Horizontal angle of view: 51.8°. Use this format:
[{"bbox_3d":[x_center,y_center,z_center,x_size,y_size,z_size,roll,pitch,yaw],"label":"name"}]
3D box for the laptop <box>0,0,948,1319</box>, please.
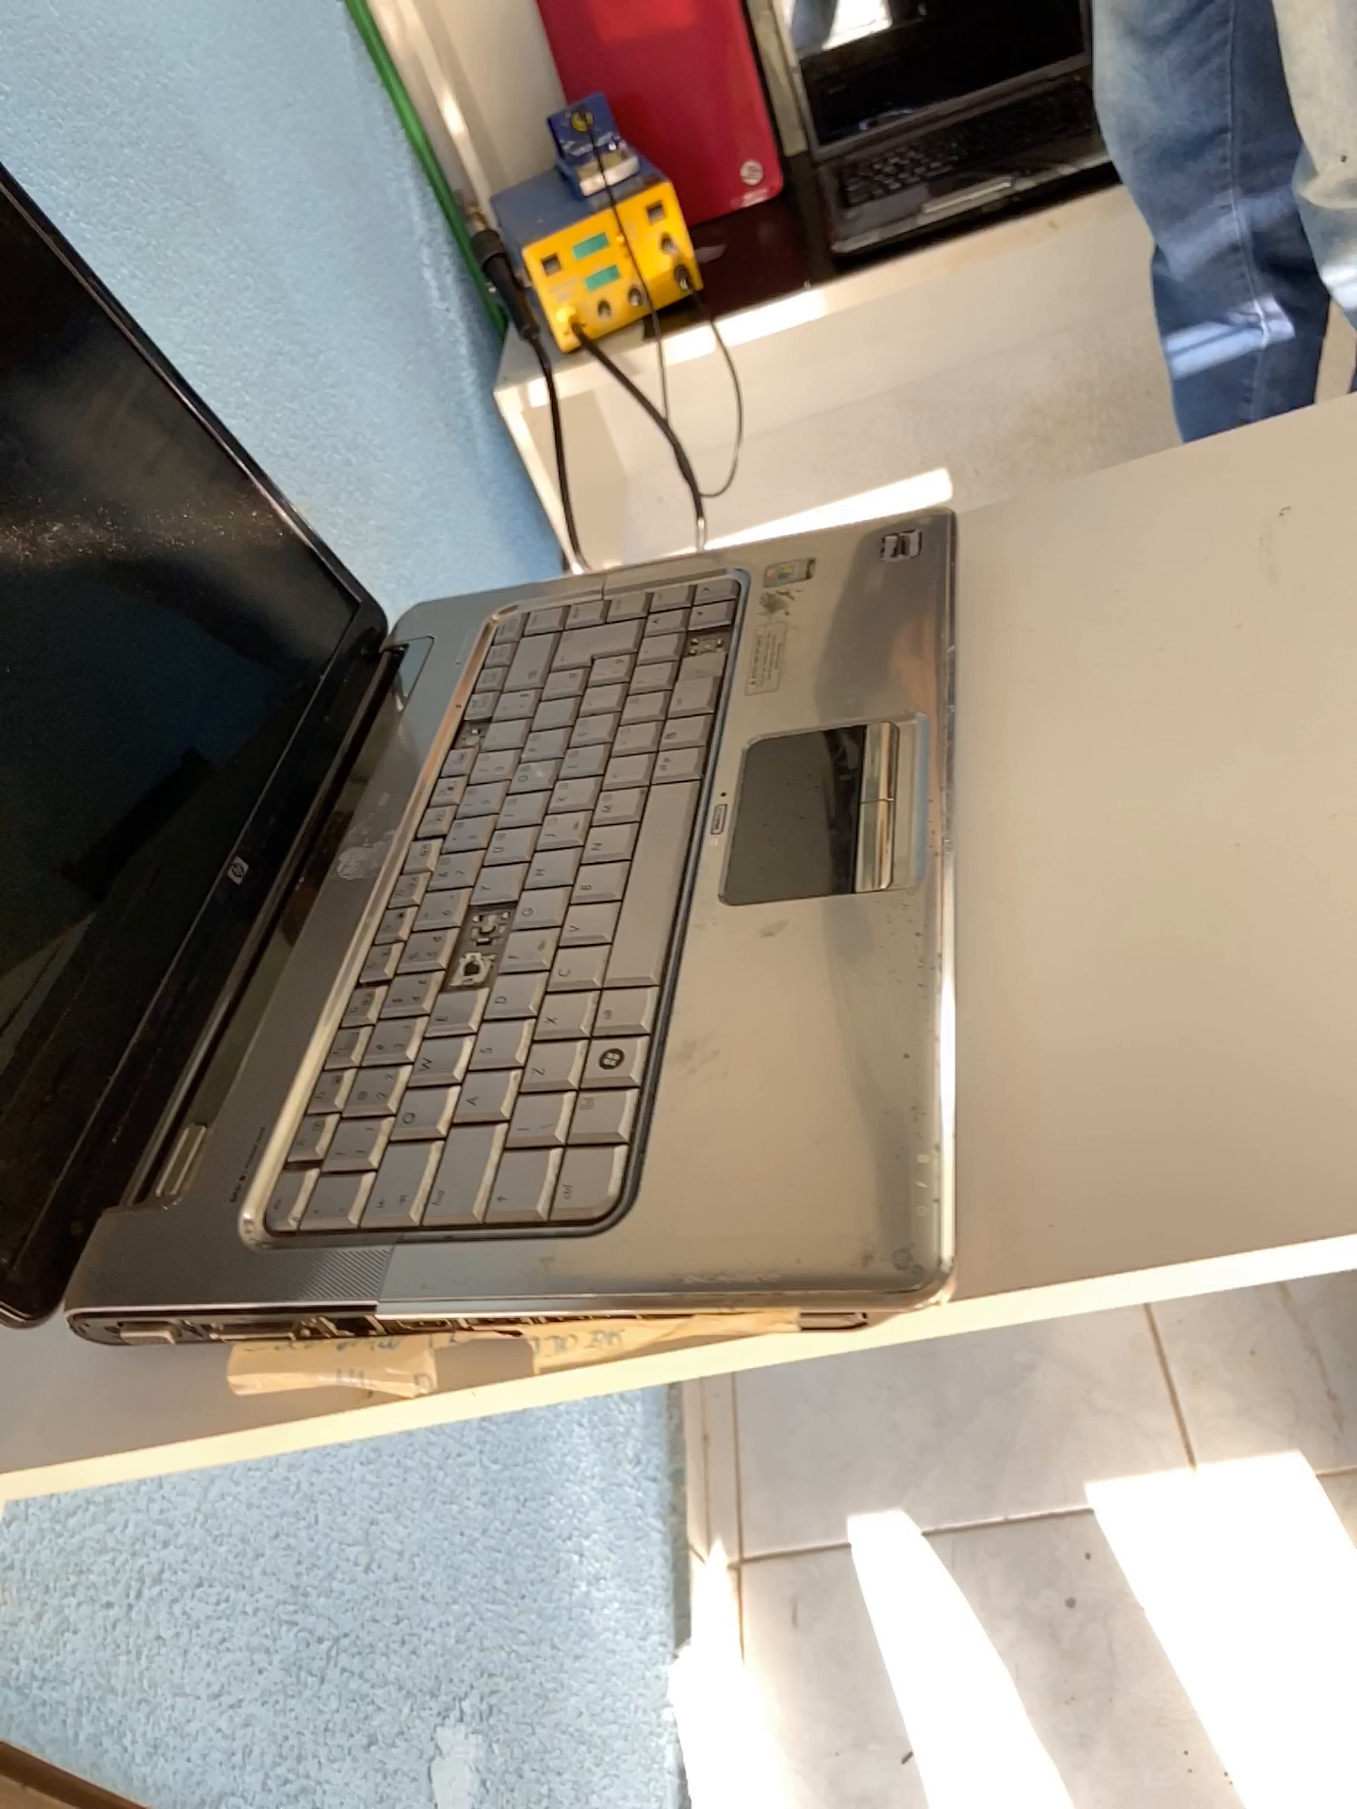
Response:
[{"bbox_3d":[-0.110,-0.098,0.421,0.328,0.233,0.353,-8,43,19],"label":"laptop"}]
